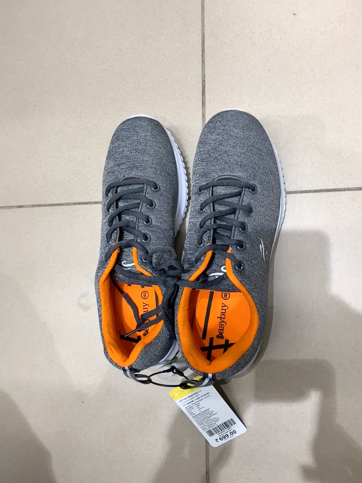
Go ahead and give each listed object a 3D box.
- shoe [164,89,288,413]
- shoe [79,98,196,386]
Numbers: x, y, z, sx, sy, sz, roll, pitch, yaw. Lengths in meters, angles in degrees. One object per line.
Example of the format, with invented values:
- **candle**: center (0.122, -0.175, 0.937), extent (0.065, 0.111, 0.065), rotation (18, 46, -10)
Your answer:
- **shoe**: center (0.053, 0.006, 0.398), extent (0.100, 0.090, 0.300), rotation (3, 85, 14)
- **shoe**: center (-0.046, 0.002, 0.414), extent (0.100, 0.090, 0.280), rotation (-3, 84, 13)
